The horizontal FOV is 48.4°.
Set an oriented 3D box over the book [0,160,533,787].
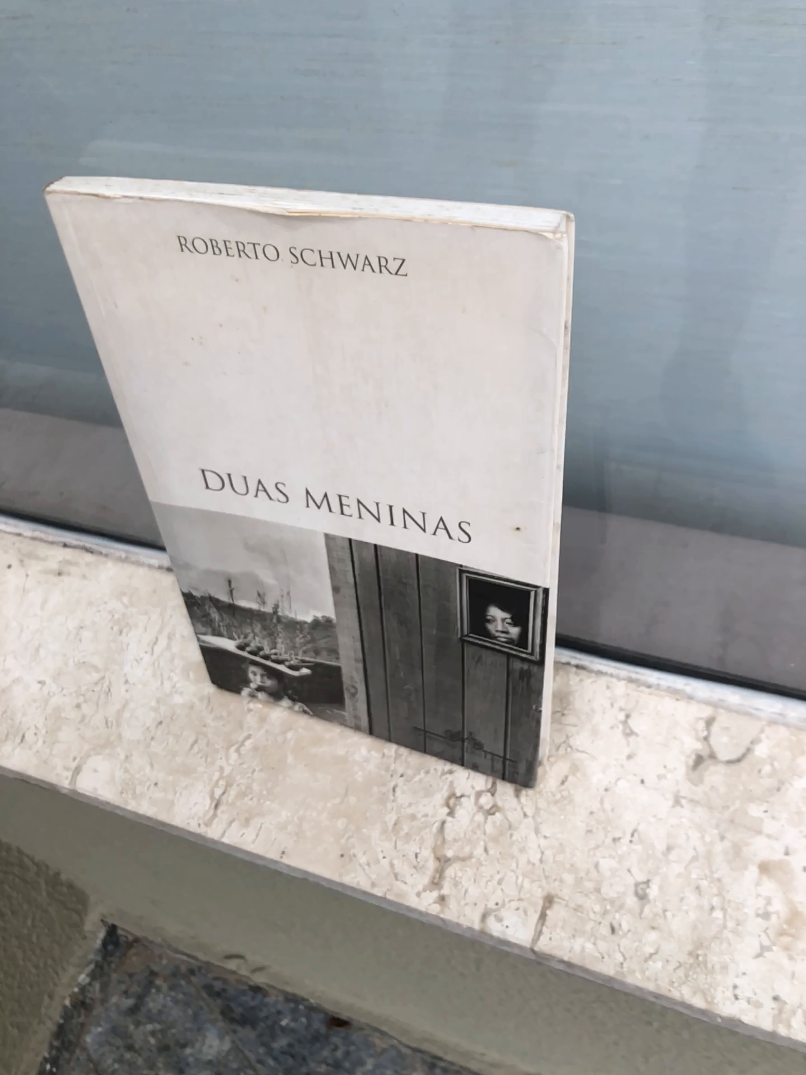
[{"bbox_3d":[-0.030,-0.006,0.281,0.139,0.204,0.016,13,46,21],"label":"book"}]
